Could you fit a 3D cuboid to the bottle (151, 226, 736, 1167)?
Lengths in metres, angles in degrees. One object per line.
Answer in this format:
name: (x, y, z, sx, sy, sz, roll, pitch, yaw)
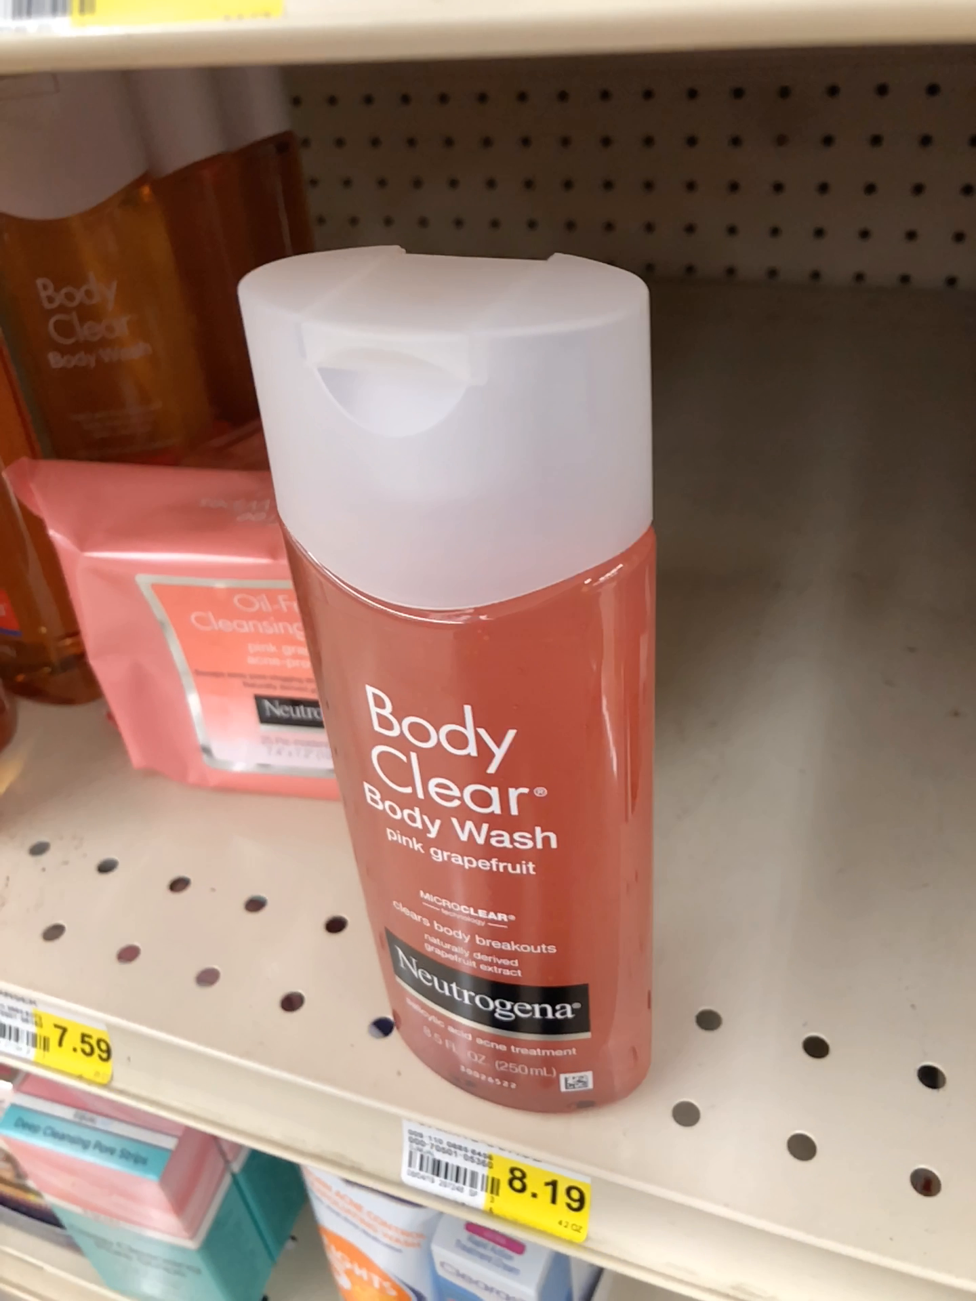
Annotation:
bottle: (0.003, 0.024, 0.202, 0.070, 0.190, 0.030, 10, 42, 21)
